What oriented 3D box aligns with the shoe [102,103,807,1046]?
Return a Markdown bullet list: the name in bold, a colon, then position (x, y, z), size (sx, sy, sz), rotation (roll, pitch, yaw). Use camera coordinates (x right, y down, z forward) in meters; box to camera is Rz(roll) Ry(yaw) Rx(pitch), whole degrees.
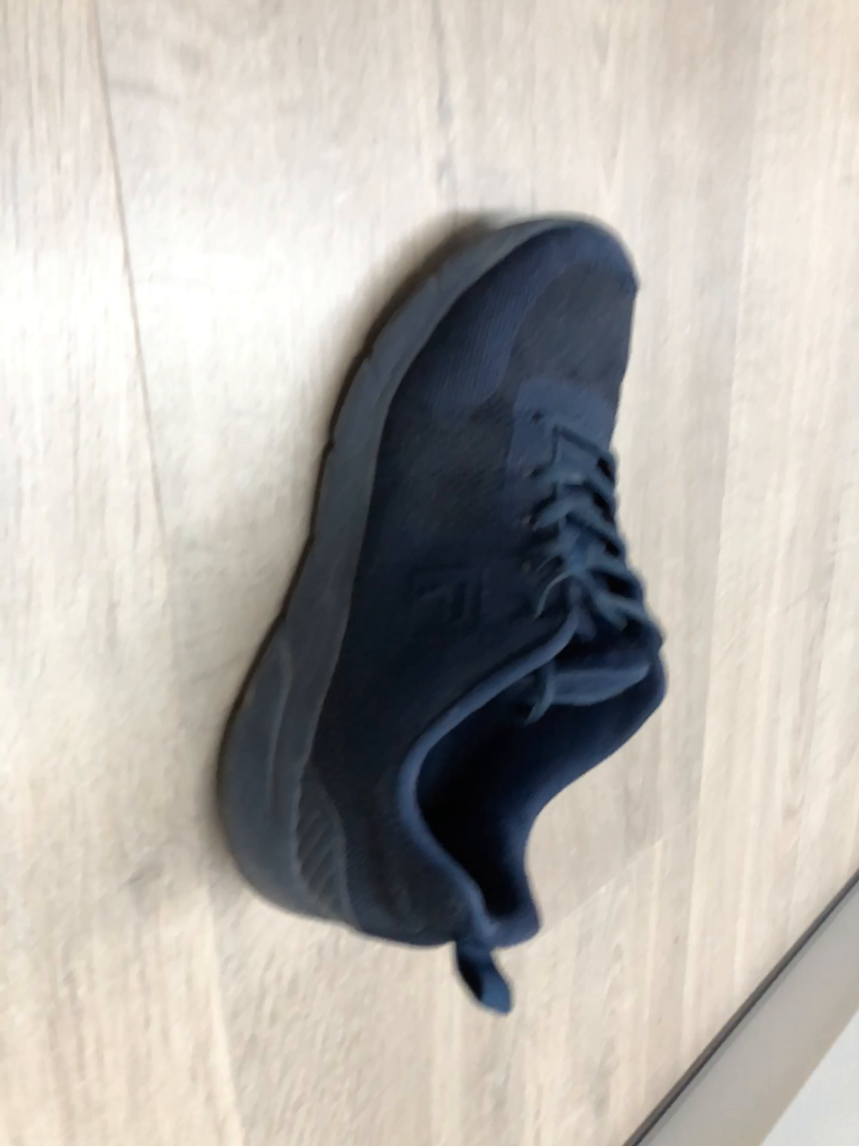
- **shoe**: position (0.016, -0.003, 0.336), size (0.100, 0.109, 0.290), rotation (32, 79, -47)
